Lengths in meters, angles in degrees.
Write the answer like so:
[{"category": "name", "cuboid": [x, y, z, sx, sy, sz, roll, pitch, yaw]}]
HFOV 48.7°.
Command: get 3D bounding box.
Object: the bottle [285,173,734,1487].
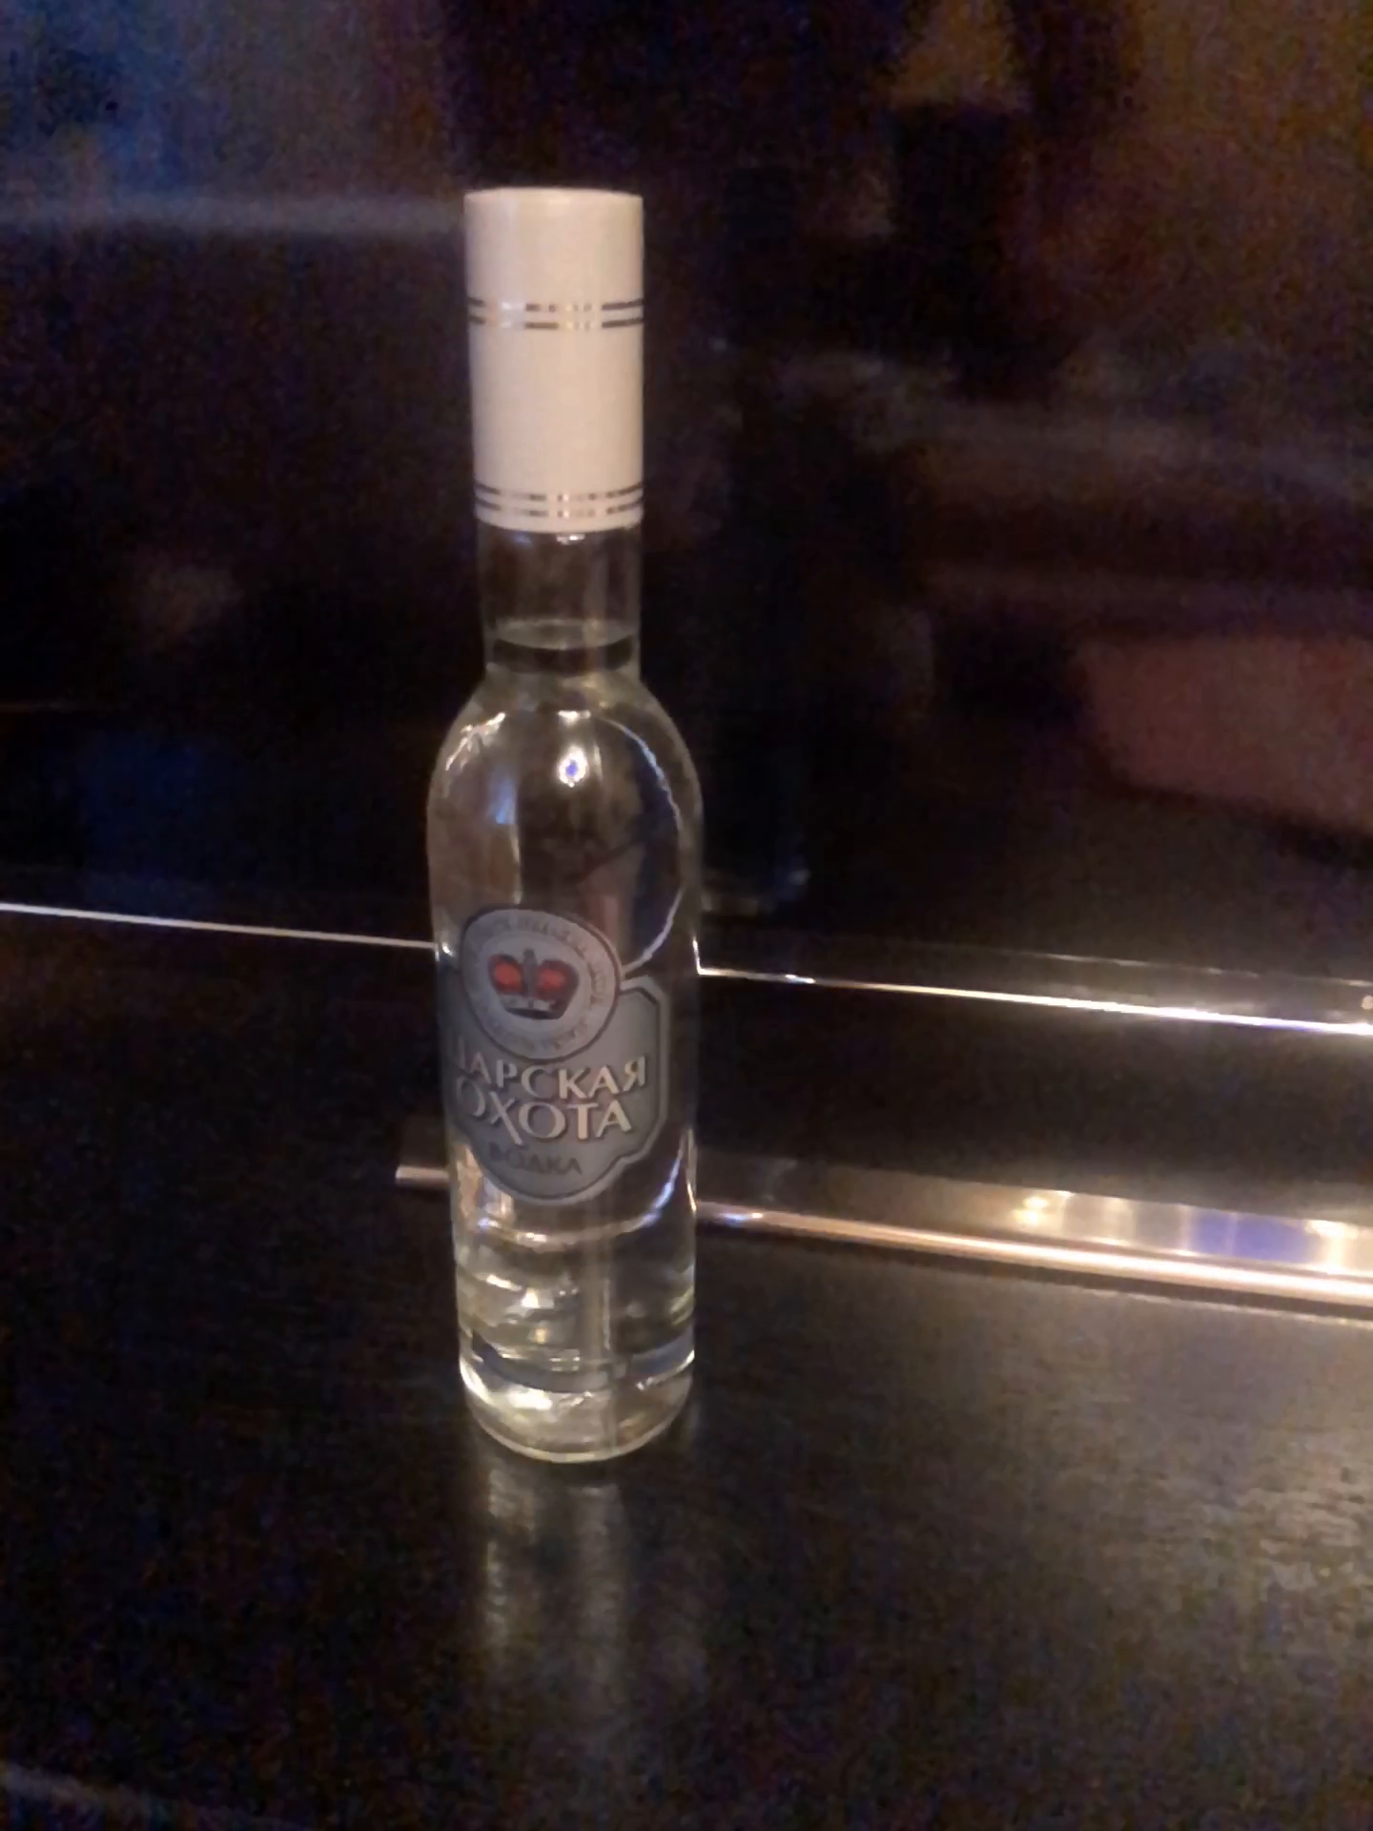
[{"category": "bottle", "cuboid": [-0.029, -0.007, 0.346, 0.064, 0.290, 0.067, 0, 26, 0]}]
